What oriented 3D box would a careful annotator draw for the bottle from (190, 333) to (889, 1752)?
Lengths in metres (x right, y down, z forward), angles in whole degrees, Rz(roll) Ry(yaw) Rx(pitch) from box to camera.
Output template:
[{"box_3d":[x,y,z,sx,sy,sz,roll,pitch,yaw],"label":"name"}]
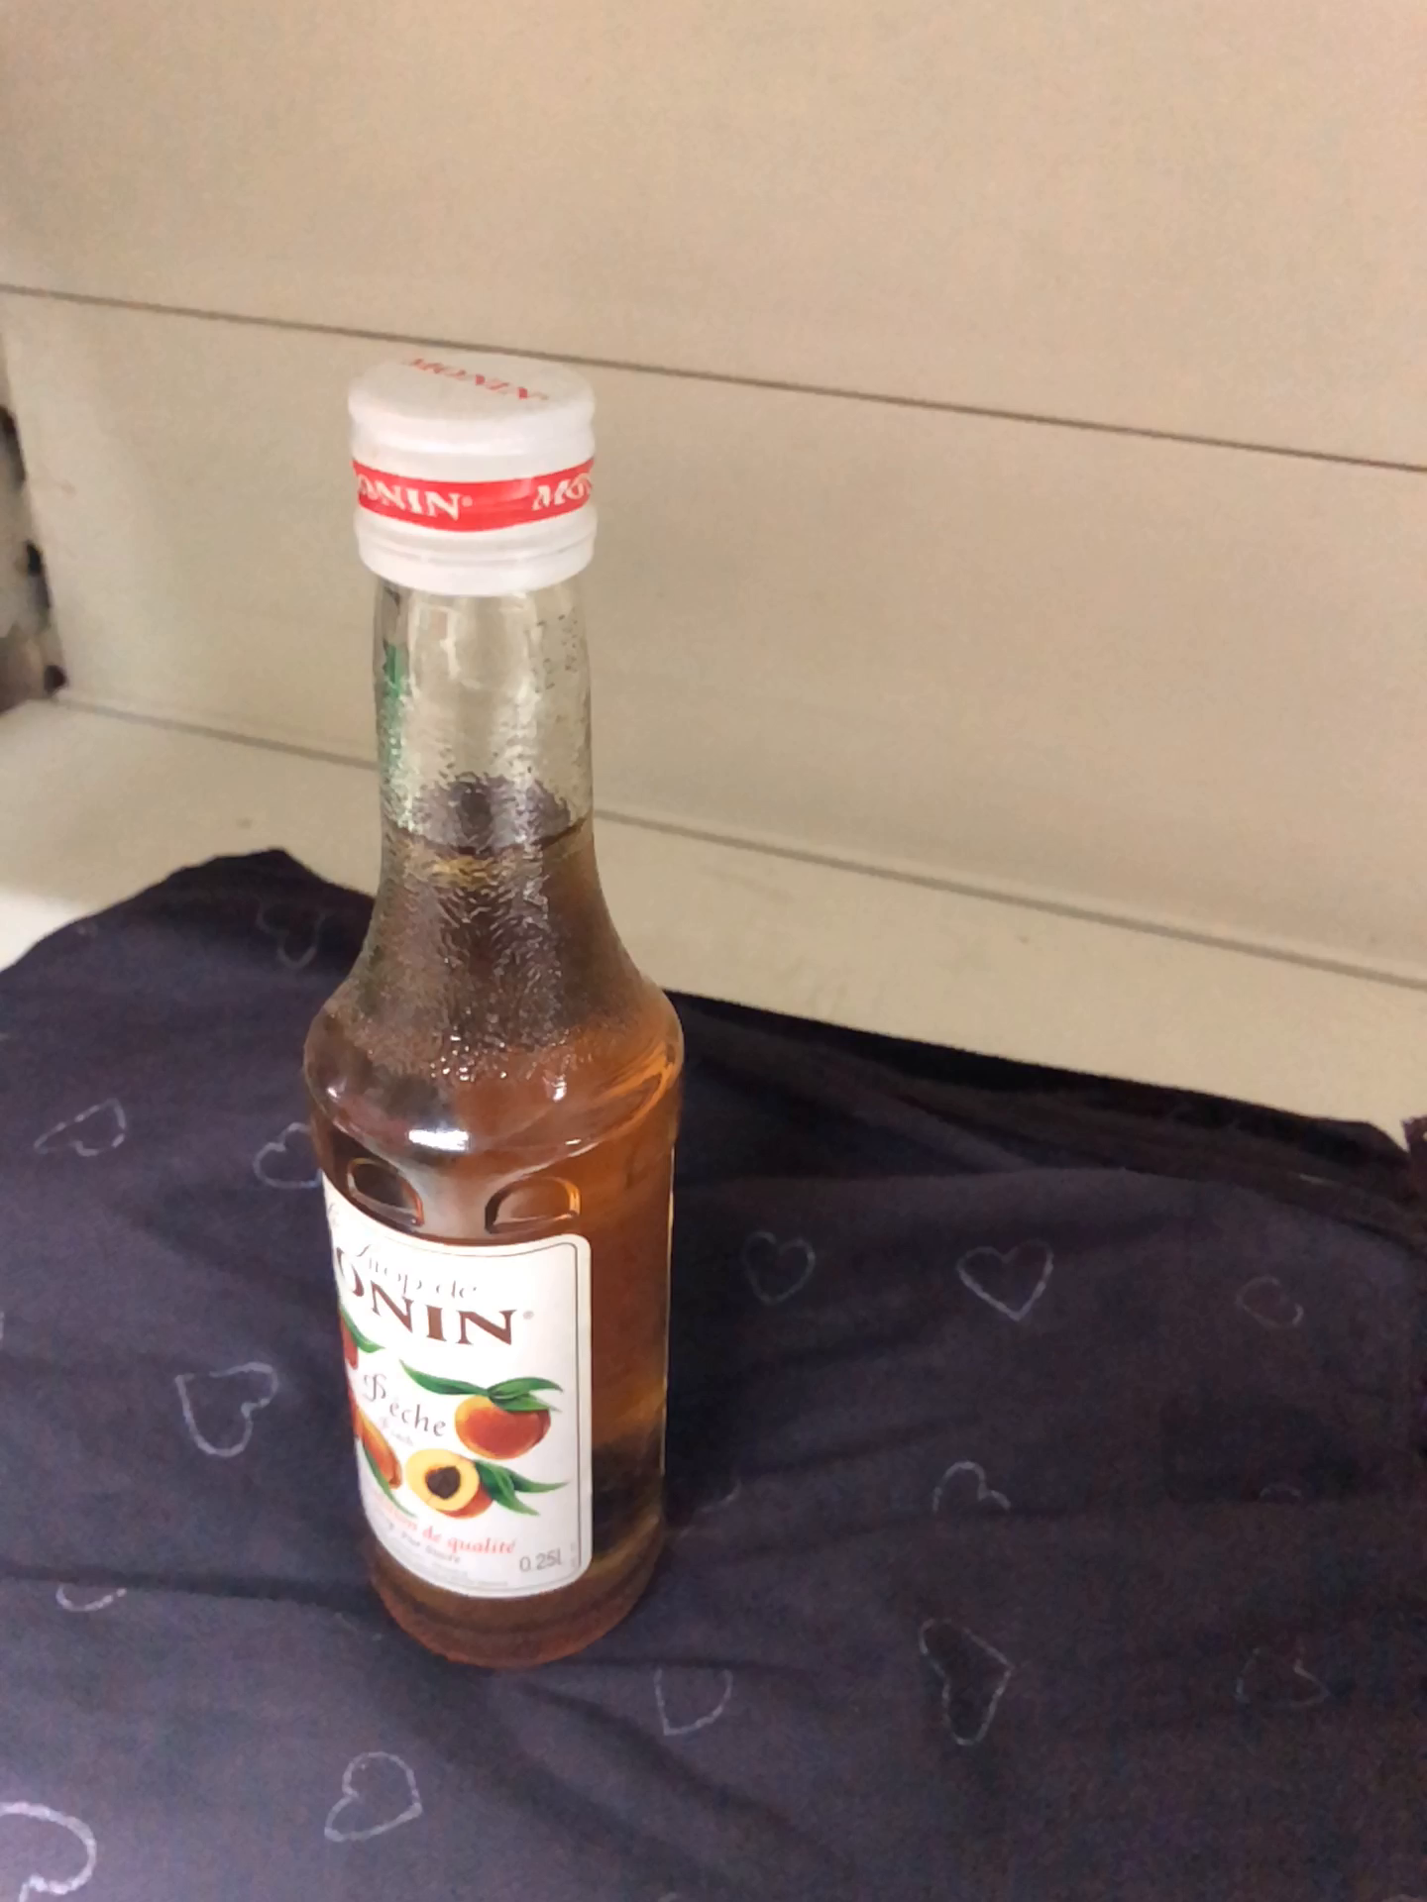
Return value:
[{"box_3d":[-0.025,0.022,0.249,0.060,0.209,0.060,2,31,-1],"label":"bottle"}]
